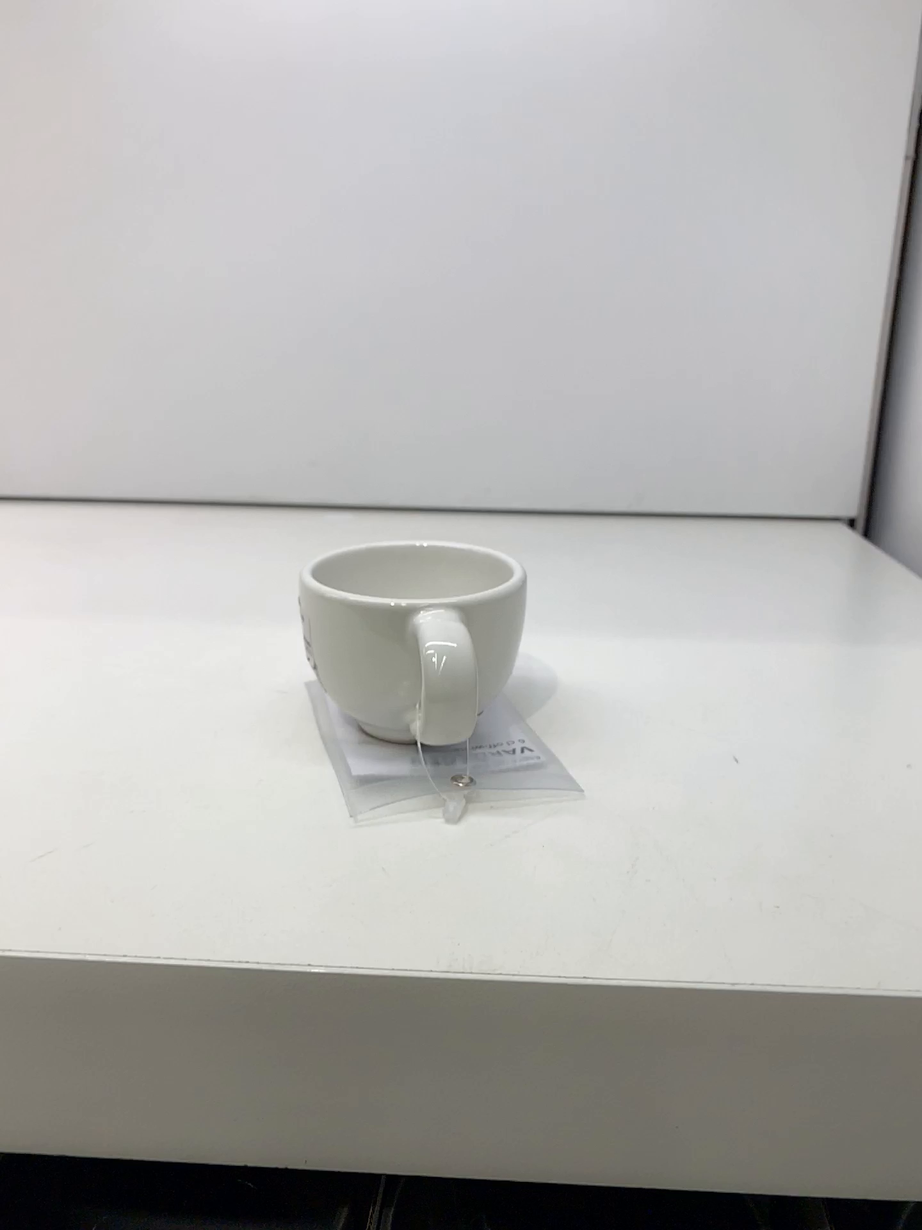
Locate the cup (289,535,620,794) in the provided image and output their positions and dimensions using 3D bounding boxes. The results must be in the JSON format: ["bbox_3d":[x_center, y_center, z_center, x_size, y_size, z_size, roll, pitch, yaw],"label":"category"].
[{"bbox_3d":[-0.007,0.008,0.257,0.070,0.040,0.080,-3,17,-13],"label":"cup"}]
